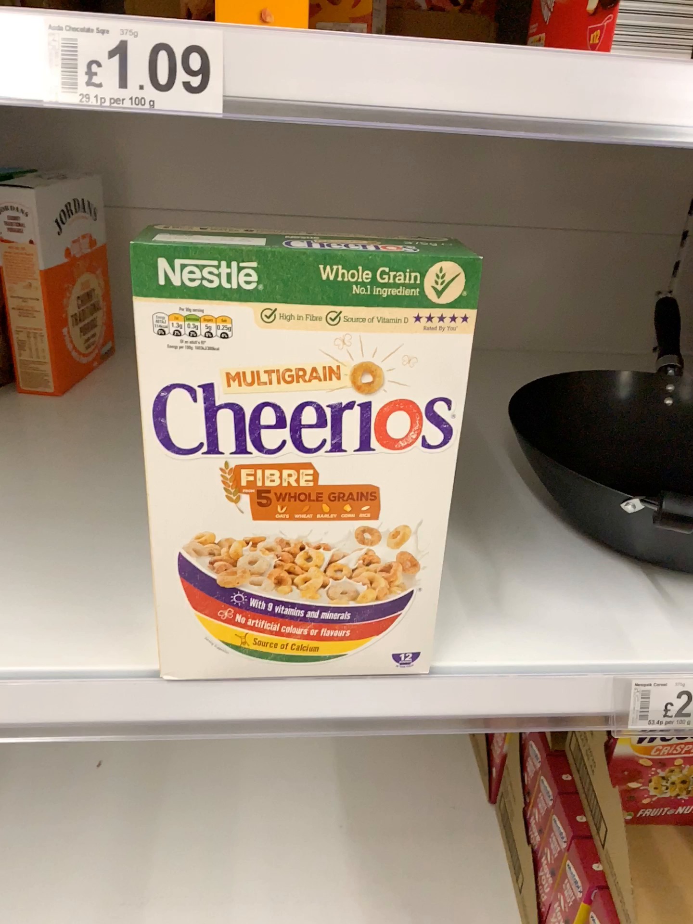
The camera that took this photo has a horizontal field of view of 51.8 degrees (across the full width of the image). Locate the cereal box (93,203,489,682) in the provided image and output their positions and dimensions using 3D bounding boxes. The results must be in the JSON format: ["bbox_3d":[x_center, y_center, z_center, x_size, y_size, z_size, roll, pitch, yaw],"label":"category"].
[{"bbox_3d":[-0.037,-0.003,0.451,0.200,0.288,0.071,0,24,-7],"label":"cereal box"}]
